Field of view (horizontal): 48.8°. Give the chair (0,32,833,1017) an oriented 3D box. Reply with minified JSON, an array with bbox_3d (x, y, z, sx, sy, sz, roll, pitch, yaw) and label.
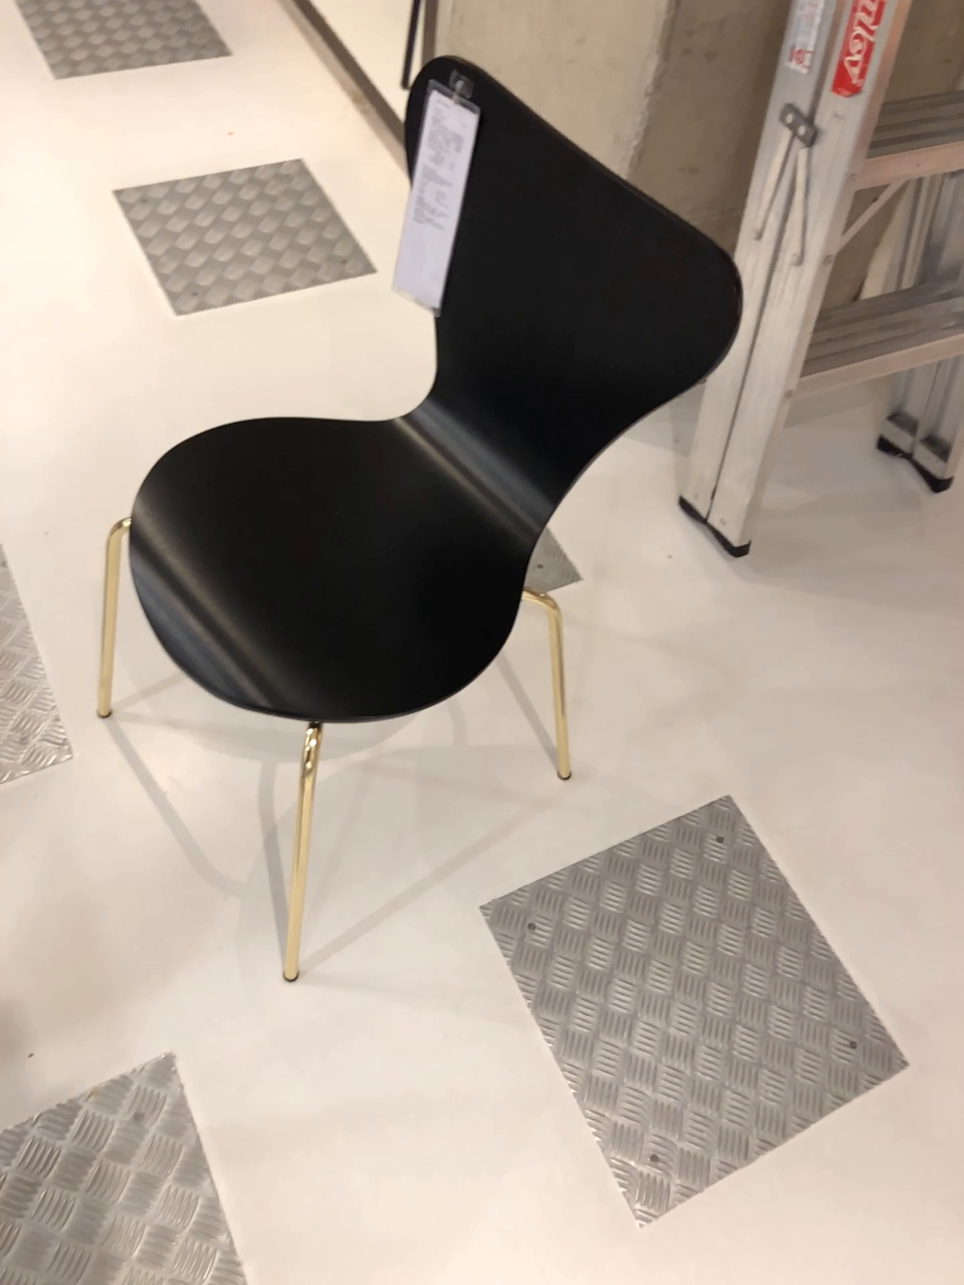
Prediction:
[{"bbox_3d":[-0.133,-0.080,1.142,0.542,0.775,0.511,-31,65,-25],"label":"chair"}]
